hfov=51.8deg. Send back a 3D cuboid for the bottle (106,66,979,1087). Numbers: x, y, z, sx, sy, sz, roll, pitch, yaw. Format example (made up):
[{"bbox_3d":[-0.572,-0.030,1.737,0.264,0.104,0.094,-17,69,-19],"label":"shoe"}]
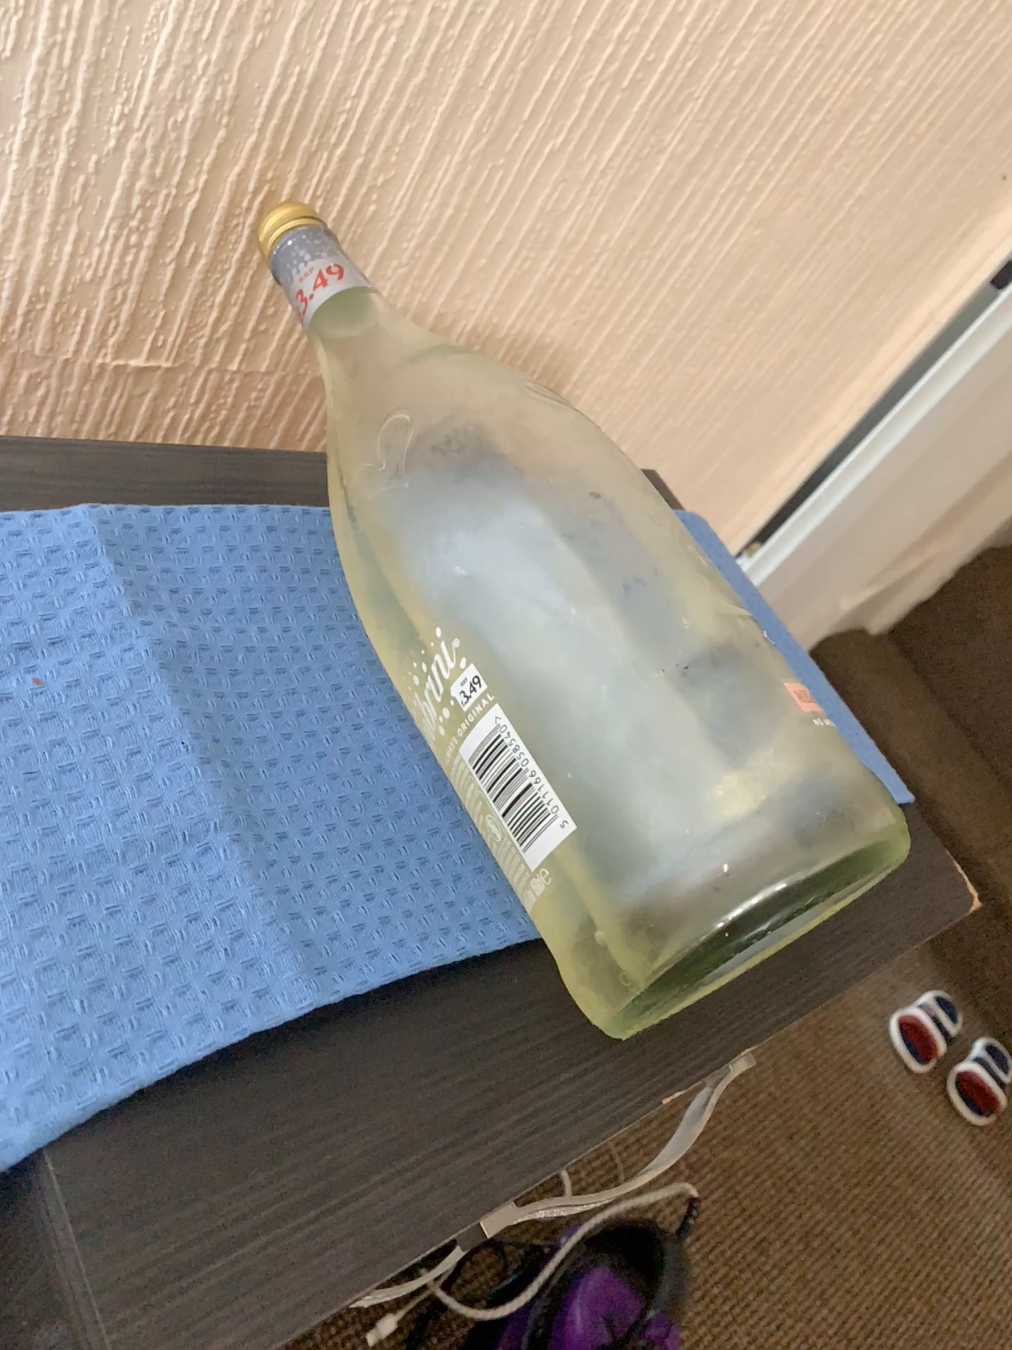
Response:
[{"bbox_3d":[-0.018,-0.051,0.351,0.111,0.119,0.321,-21,66,-27],"label":"bottle"}]
